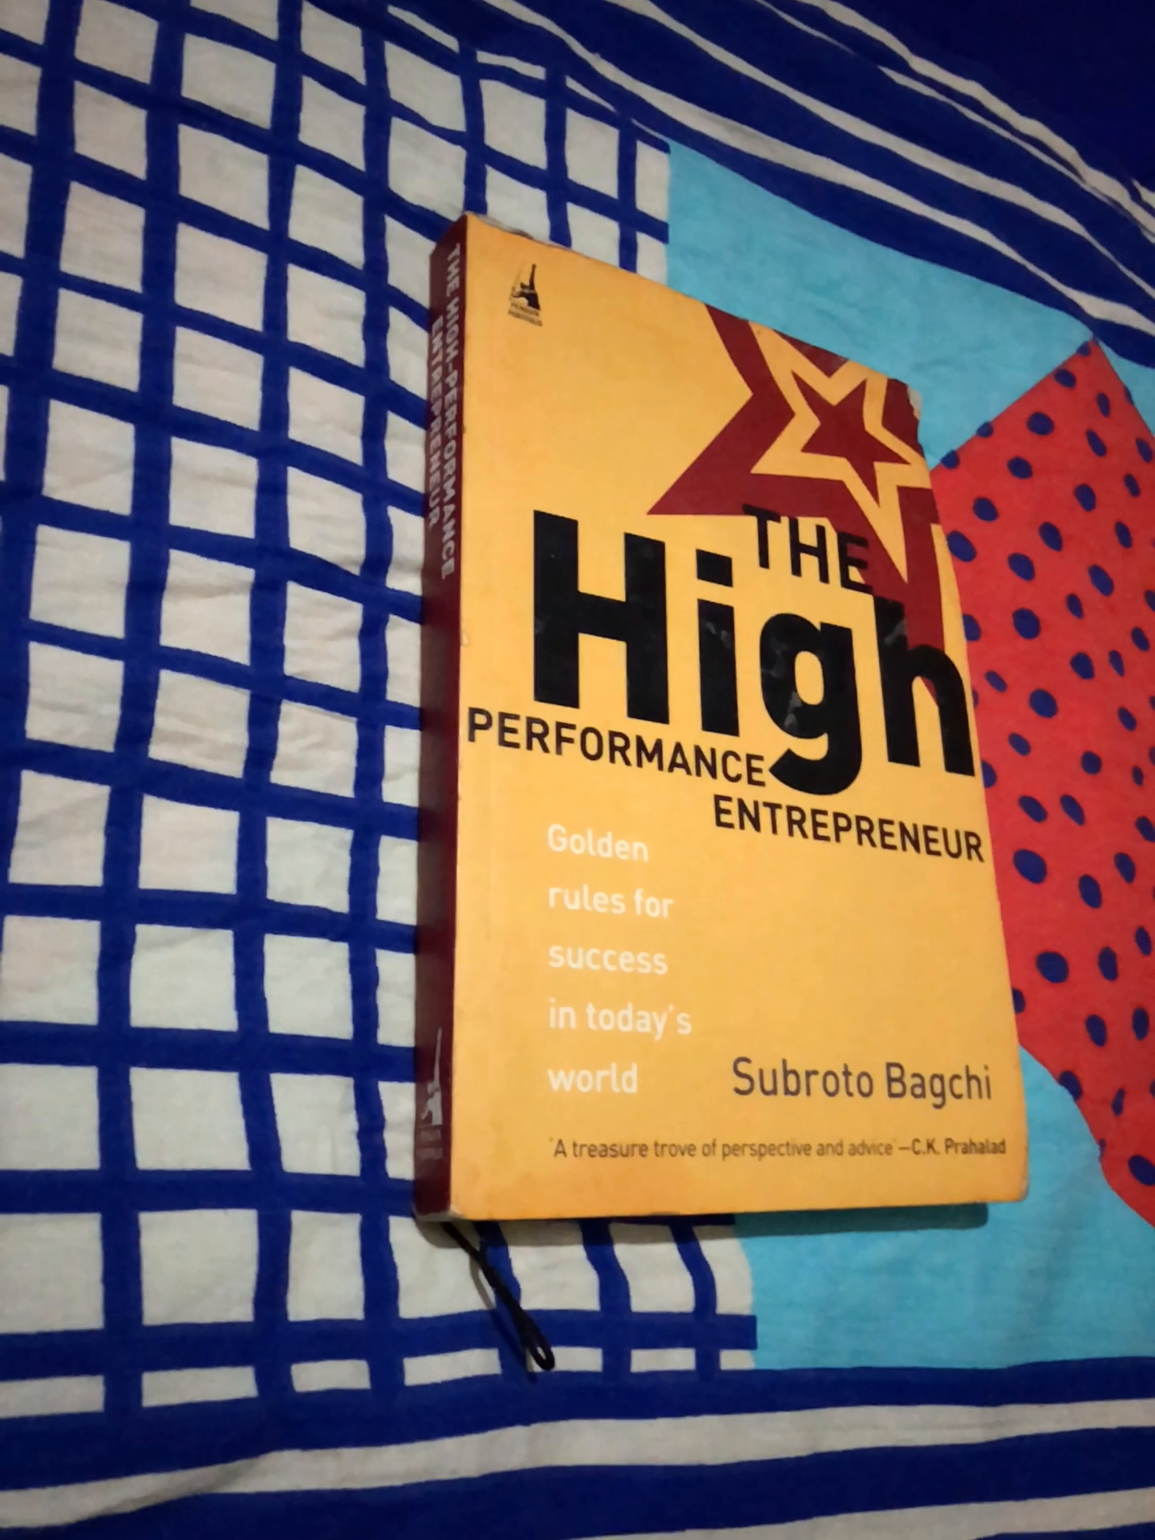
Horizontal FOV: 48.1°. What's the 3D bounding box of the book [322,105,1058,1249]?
[{"bbox_3d":[0.024,-0.018,0.286,0.141,0.040,0.230,11,66,-28],"label":"book"}]
